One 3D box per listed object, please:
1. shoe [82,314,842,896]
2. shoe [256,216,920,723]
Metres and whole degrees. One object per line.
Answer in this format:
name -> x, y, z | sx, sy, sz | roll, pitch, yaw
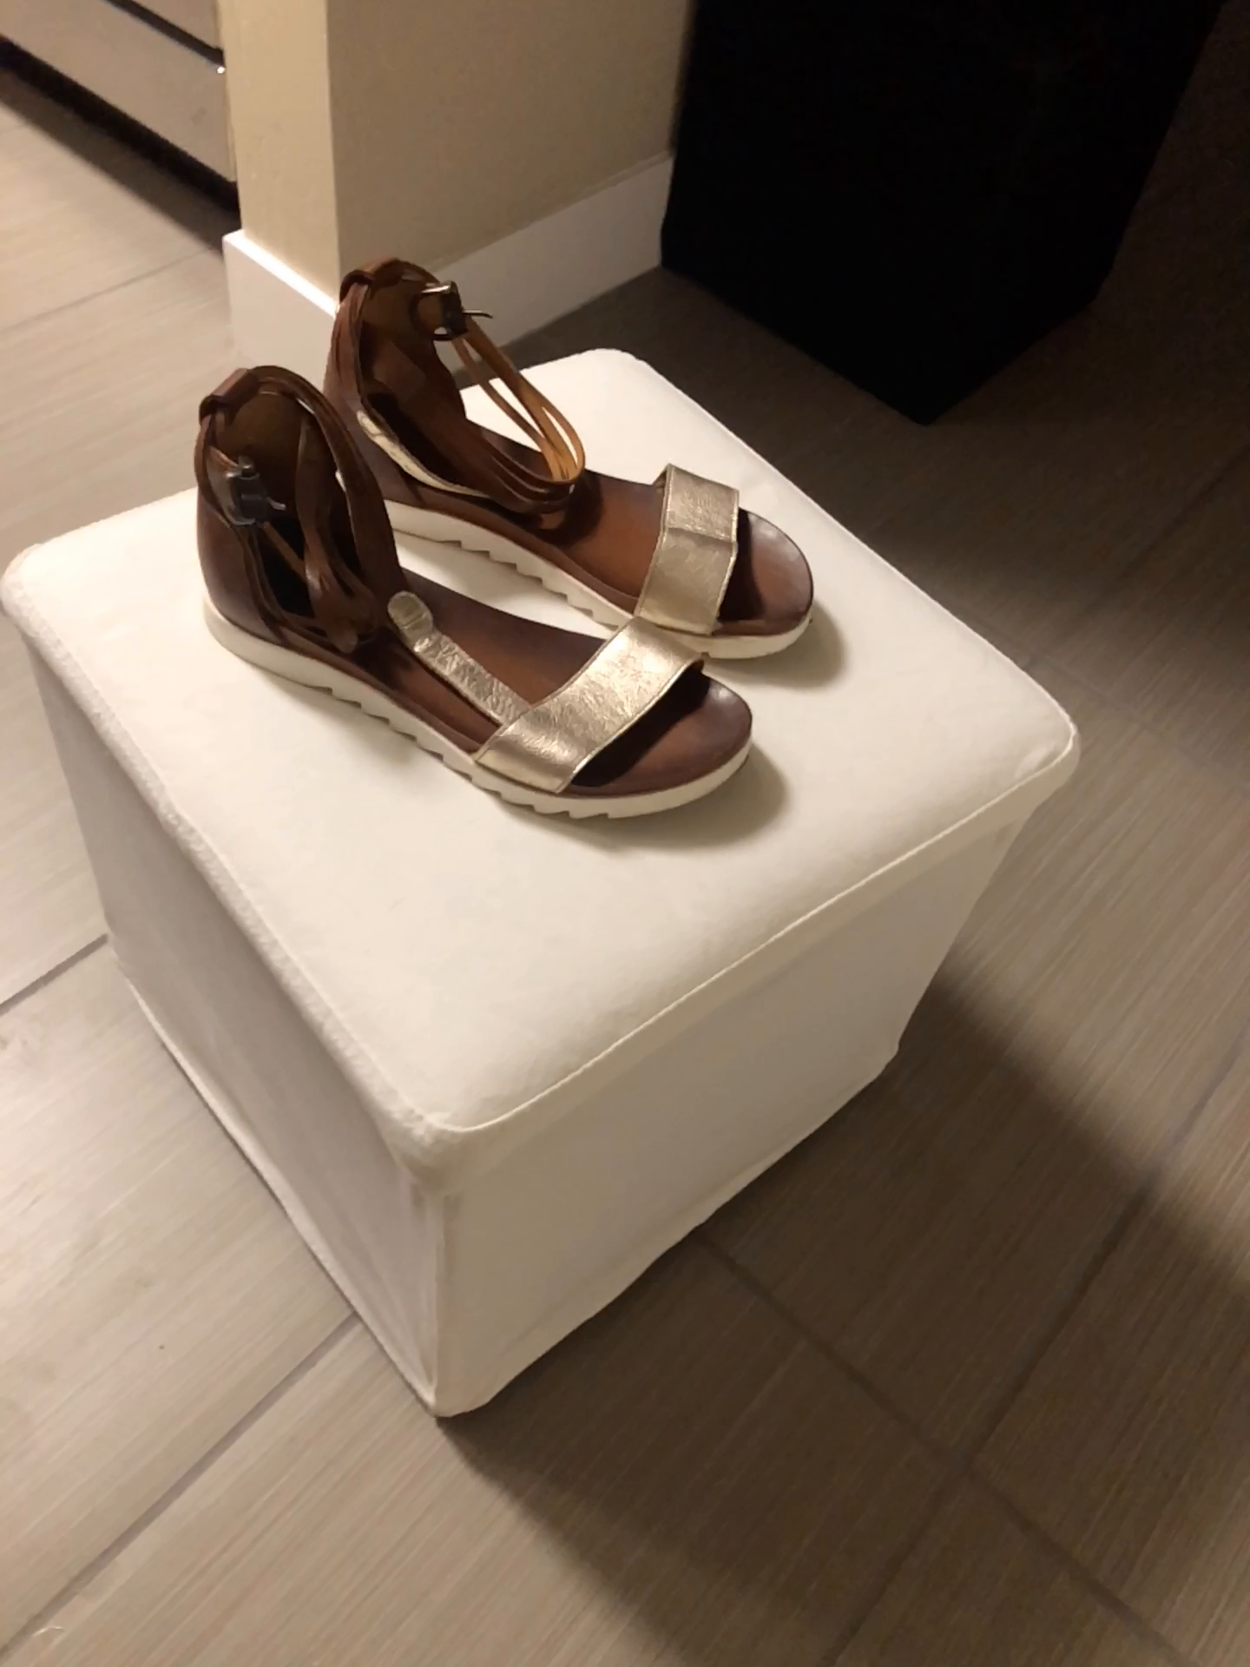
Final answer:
shoe -> -0.064, -0.095, 0.548 | 0.260, 0.090, 0.110 | 25, 53, 10
shoe -> -0.019, -0.167, 0.618 | 0.260, 0.090, 0.110 | 25, 53, 10
